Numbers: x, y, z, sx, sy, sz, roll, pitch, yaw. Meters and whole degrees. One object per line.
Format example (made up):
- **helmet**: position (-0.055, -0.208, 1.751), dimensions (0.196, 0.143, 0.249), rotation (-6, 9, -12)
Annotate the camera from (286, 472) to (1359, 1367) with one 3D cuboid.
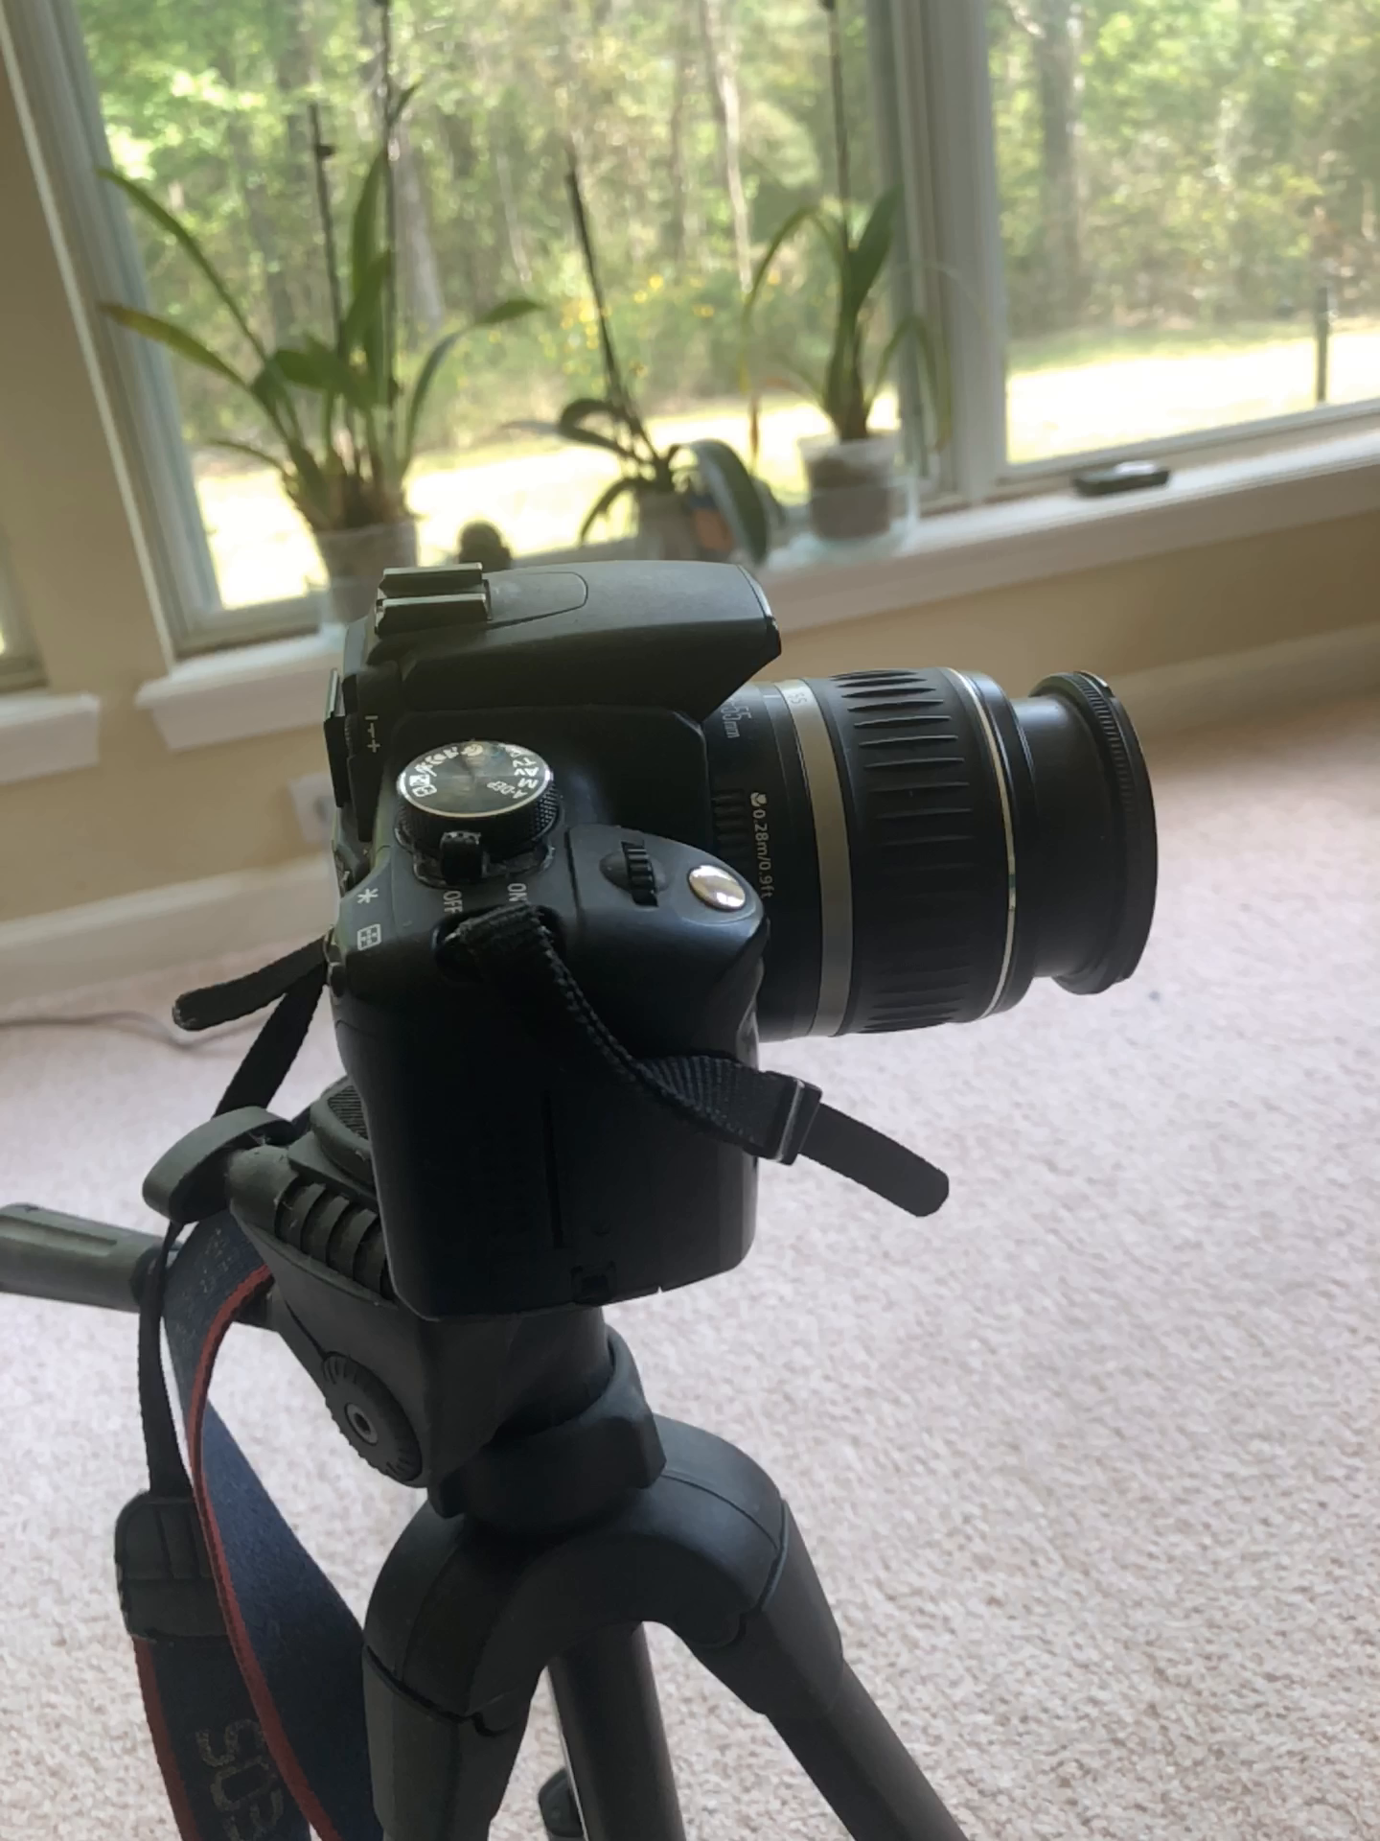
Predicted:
- **camera**: position (0.008, -0.013, 0.275), dimensions (0.142, 0.093, 0.131), rotation (-6, 31, -10)
